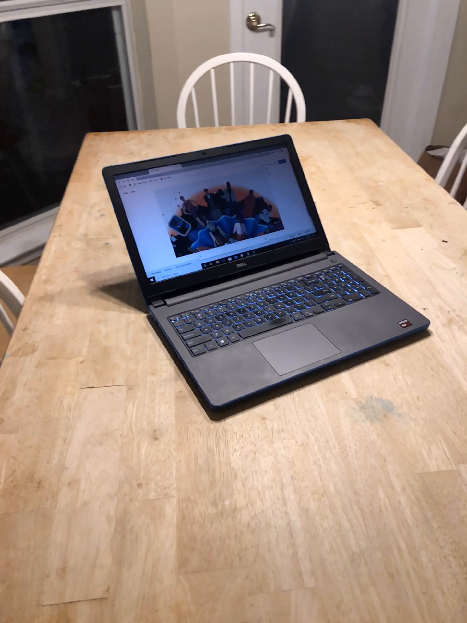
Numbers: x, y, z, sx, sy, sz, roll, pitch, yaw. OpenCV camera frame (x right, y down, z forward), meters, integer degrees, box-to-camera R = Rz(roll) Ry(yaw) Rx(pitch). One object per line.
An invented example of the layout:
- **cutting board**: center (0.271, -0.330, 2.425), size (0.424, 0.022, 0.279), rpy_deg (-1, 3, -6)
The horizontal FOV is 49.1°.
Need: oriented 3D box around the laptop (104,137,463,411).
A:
- **laptop**: center (0.047, -0.105, 0.816), size (0.367, 0.174, 0.420), rpy_deg (-18, 39, -21)
